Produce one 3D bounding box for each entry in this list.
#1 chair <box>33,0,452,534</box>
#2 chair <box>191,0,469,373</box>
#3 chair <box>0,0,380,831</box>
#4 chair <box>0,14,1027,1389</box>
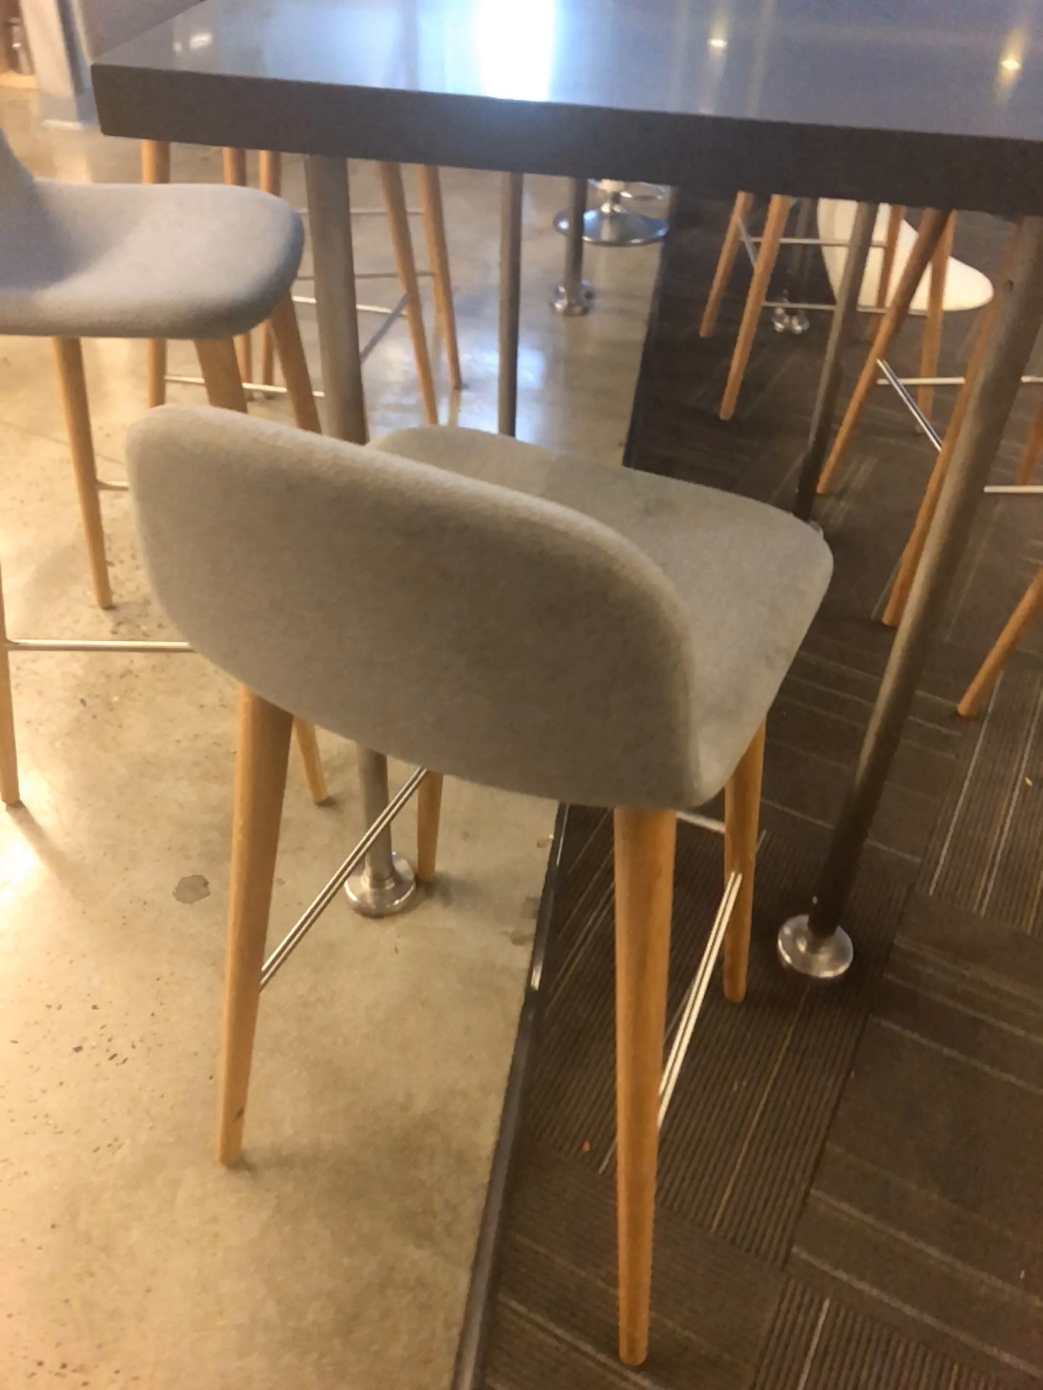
[{"bbox_3d":[-0.446,-0.887,2.170,0.540,0.982,0.504,6,36,4],"label":"chair"},{"bbox_3d":[-0.406,-1.266,2.607,0.511,0.893,0.494,-4,36,-8],"label":"chair"},{"bbox_3d":[-0.498,-0.341,1.570,0.540,0.981,0.504,-1,41,-4],"label":"chair"},{"bbox_3d":[0.011,0.024,1.051,0.500,0.981,0.666,18,43,17],"label":"chair"}]
